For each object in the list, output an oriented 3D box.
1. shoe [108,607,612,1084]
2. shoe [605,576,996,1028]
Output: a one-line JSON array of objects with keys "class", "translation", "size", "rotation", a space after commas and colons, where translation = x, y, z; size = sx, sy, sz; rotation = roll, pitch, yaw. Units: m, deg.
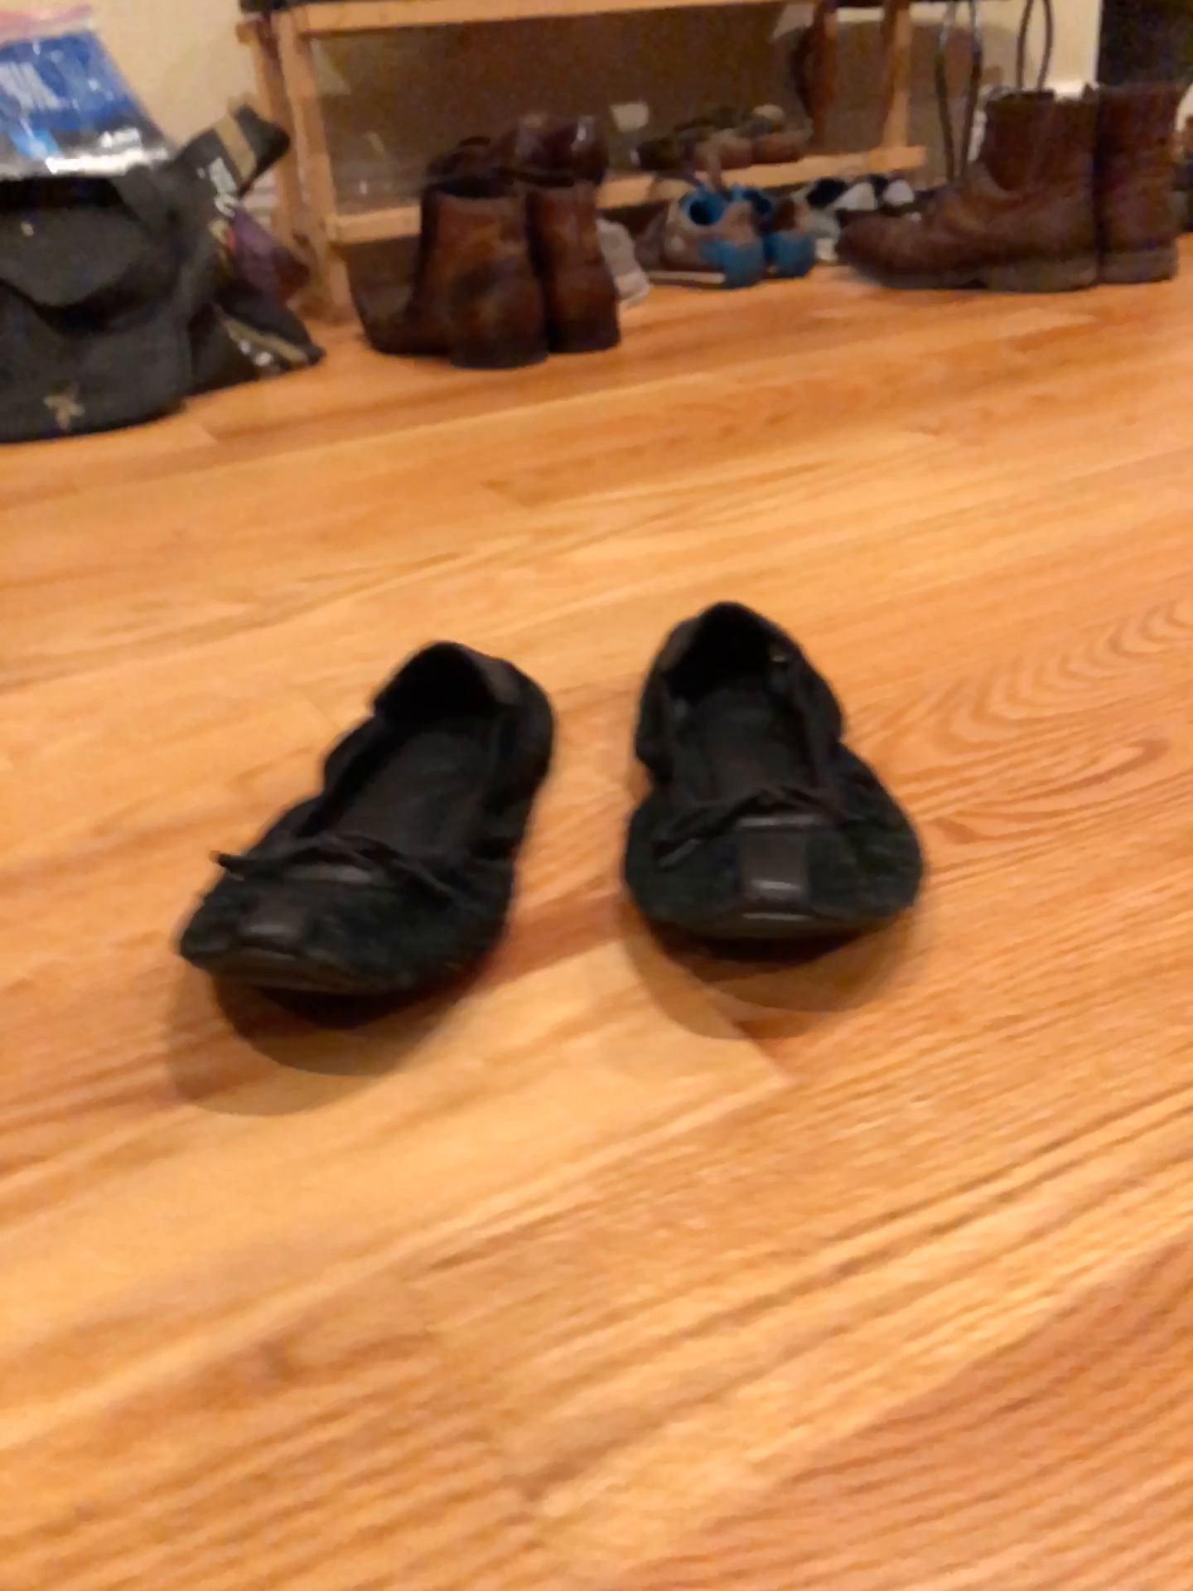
[{"class": "shoe", "translation": [-0.060, 0.001, 0.439], "size": [0.100, 0.050, 0.221], "rotation": [0, 28, 9]}, {"class": "shoe", "translation": [0.054, -0.013, 0.446], "size": [0.093, 0.046, 0.221], "rotation": [-4, 28, 1]}]
